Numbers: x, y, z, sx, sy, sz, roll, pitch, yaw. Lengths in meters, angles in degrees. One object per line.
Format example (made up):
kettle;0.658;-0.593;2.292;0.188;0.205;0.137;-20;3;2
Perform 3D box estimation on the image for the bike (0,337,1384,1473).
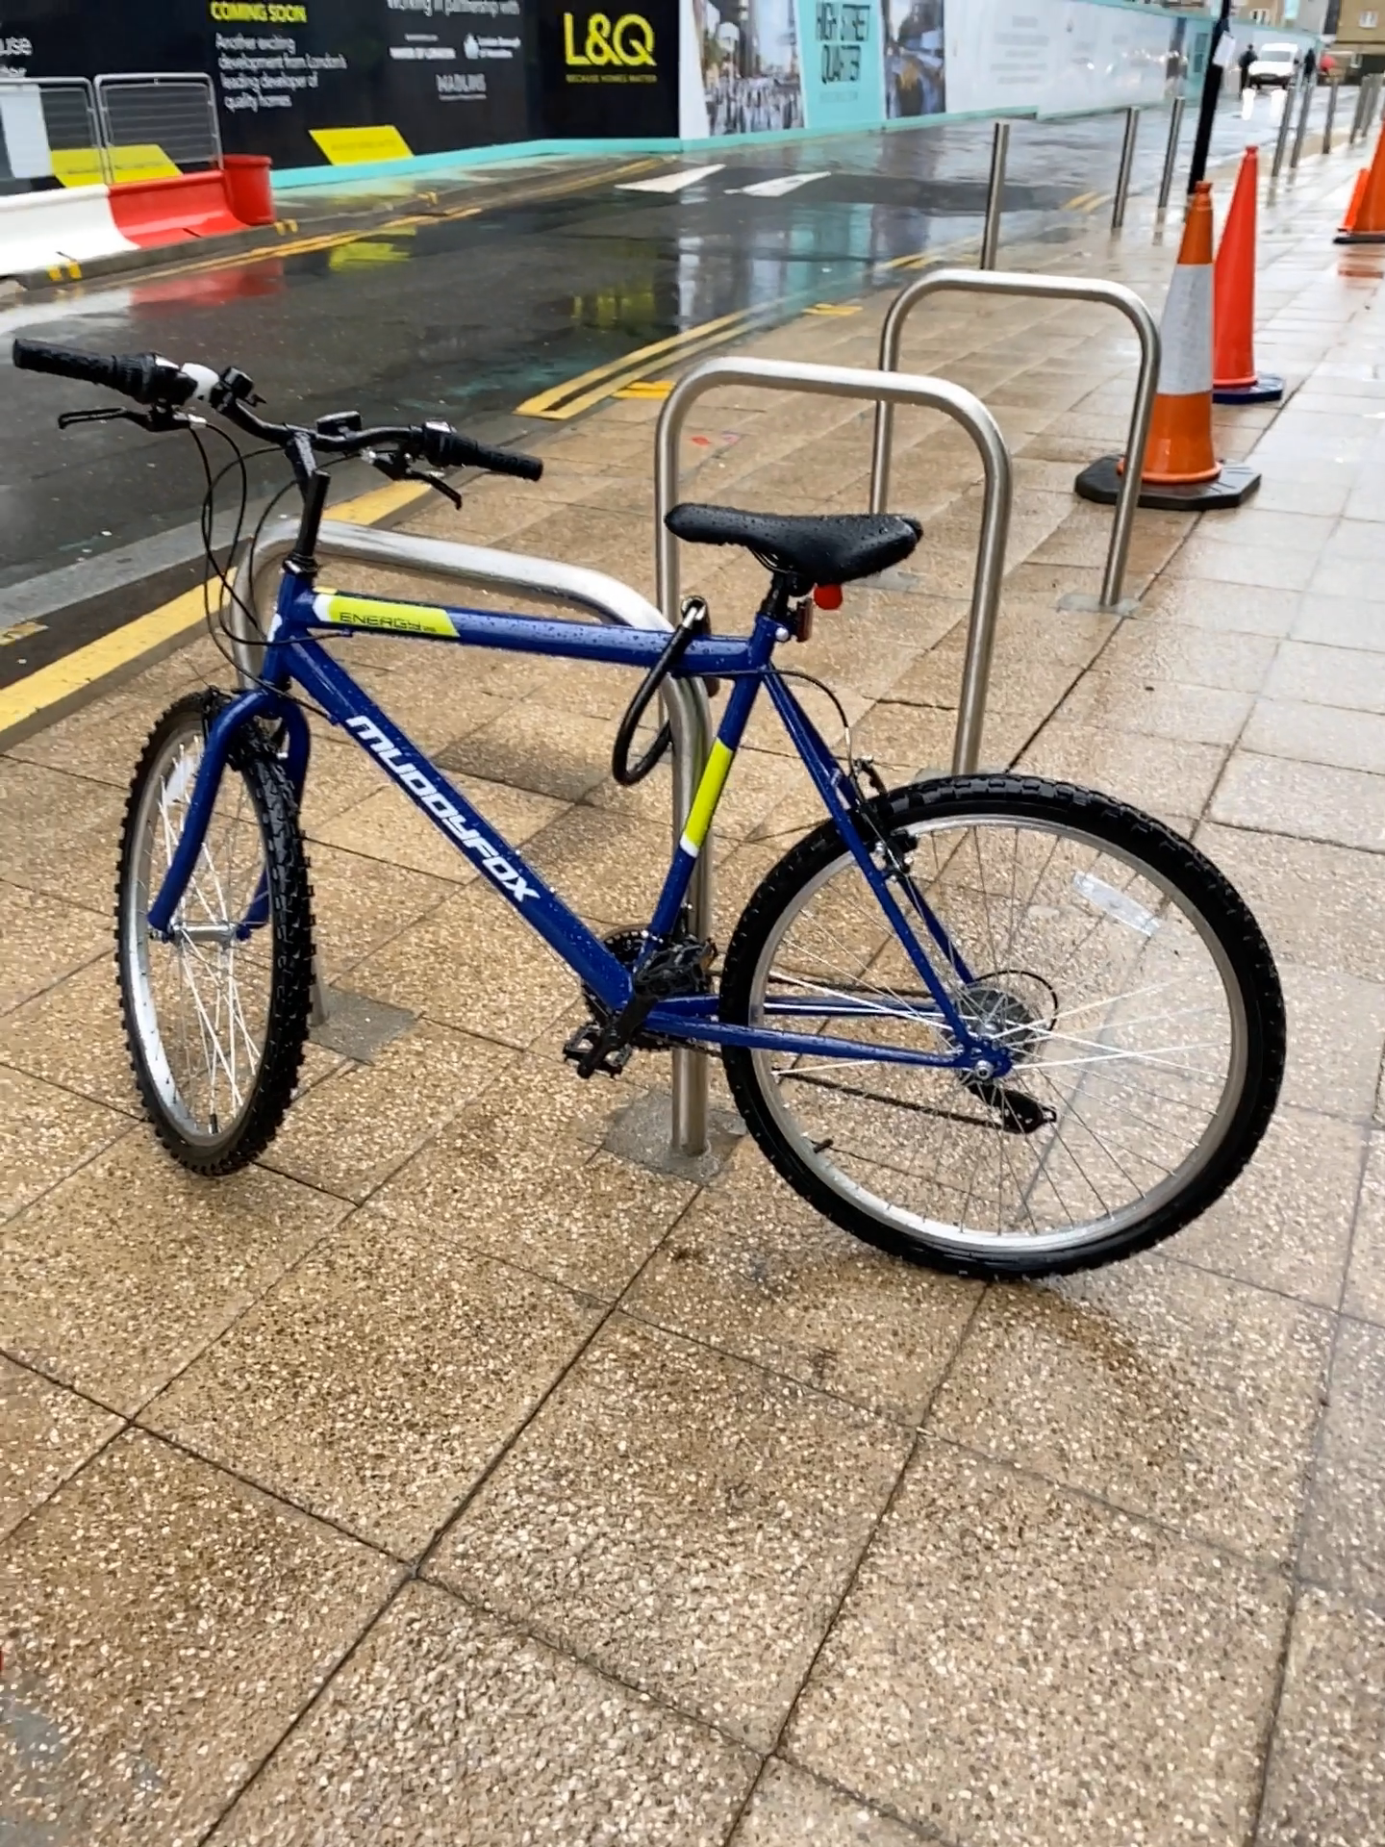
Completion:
bike;-0.088;-0.126;1.726;1.593;1.012;0.601;10;33;20
